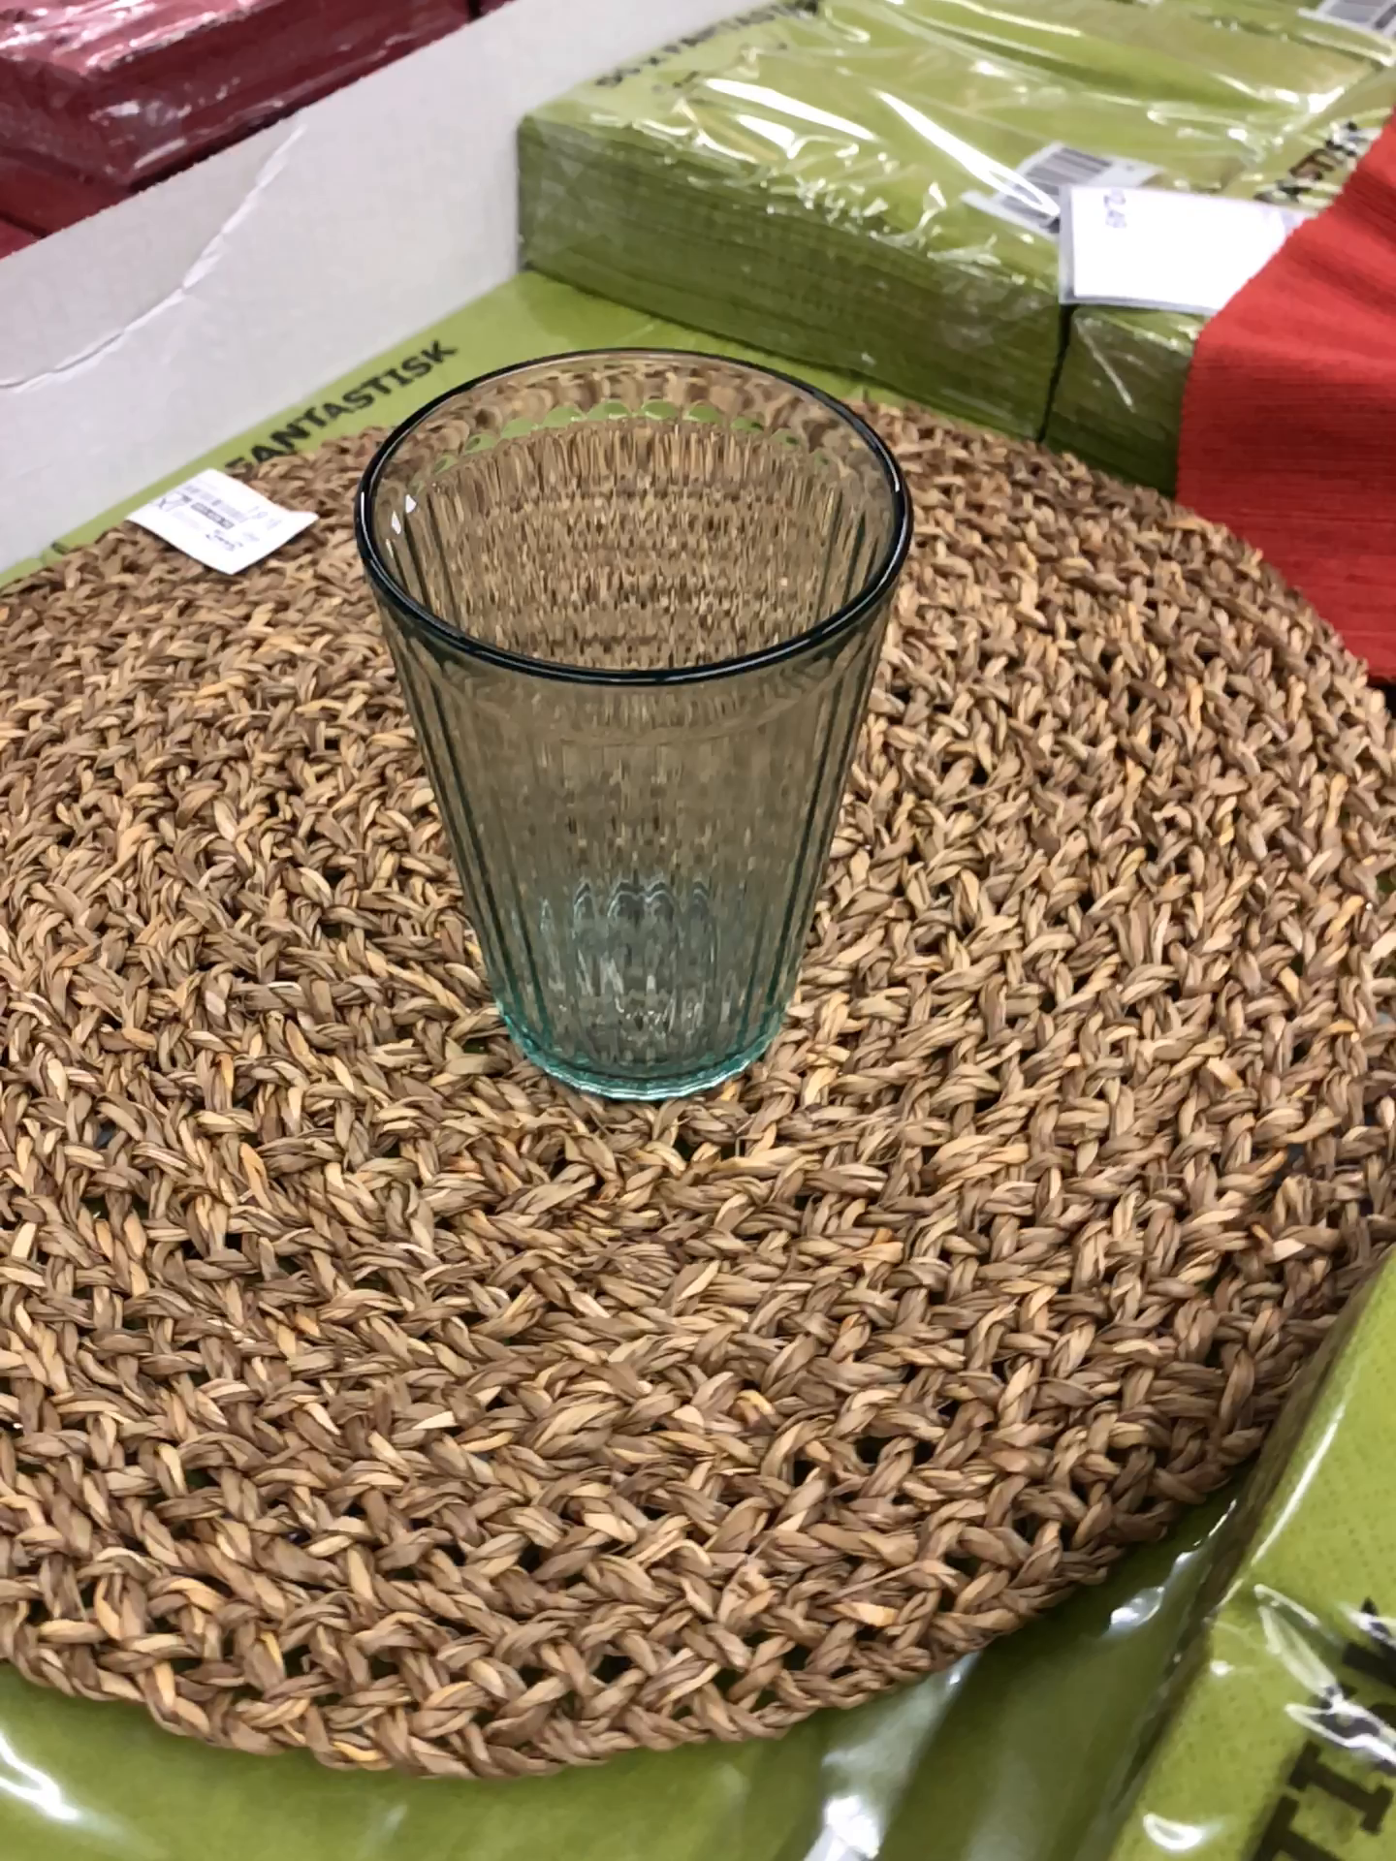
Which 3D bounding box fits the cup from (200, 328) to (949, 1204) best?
[{"bbox_3d":[-0.011,-0.026,0.248,0.080,0.100,0.080,-2,47,2],"label":"cup"}]
